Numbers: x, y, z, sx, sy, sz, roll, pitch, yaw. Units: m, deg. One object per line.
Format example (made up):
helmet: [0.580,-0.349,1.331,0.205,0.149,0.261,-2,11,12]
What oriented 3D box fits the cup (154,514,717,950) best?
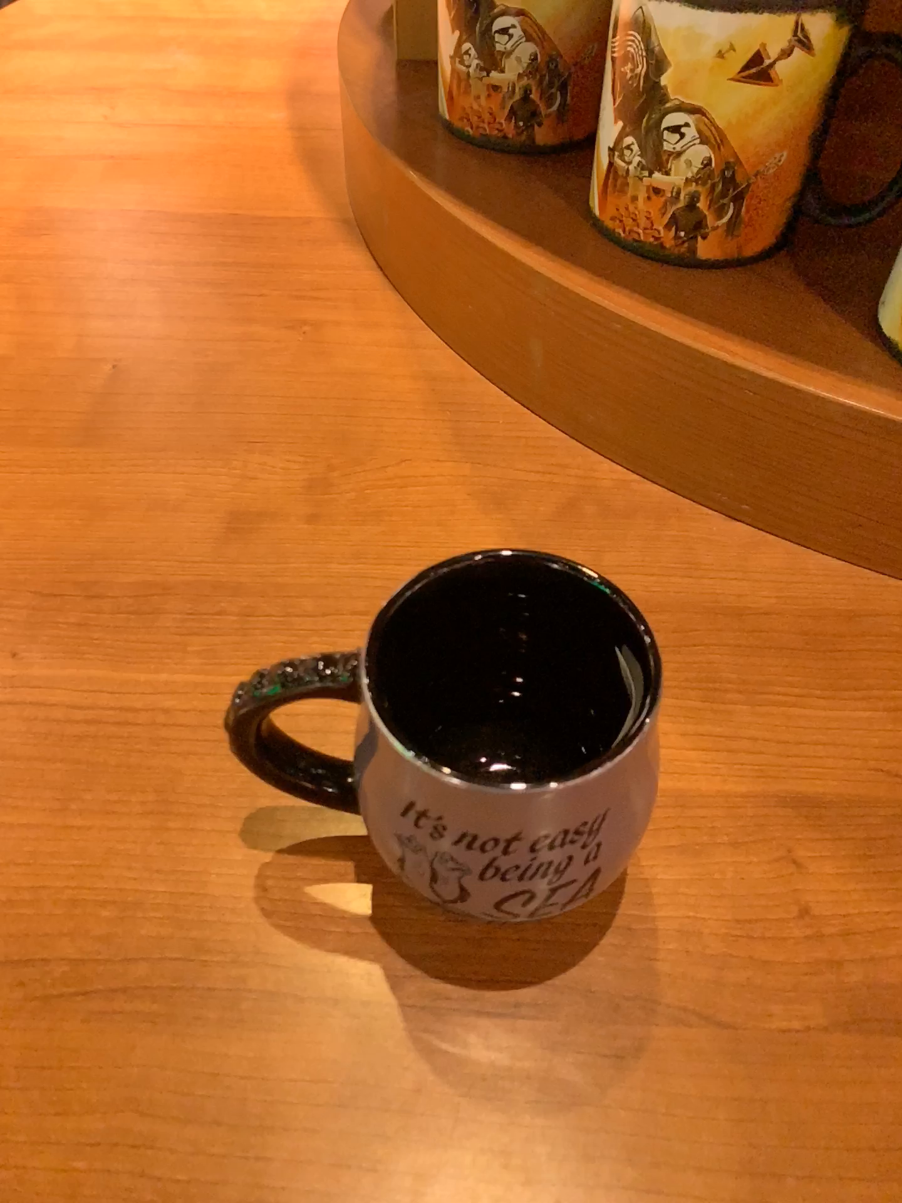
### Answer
cup: [-0.003,0.039,0.267,0.125,0.089,0.087,2,50,1]
